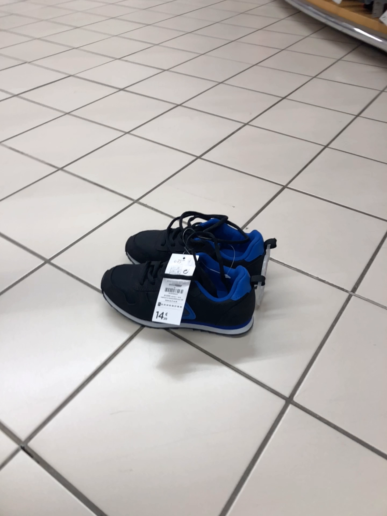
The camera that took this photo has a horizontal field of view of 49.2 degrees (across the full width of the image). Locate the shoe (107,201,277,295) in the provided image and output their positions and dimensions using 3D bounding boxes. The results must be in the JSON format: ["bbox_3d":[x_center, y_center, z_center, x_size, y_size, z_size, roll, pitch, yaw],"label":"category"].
[{"bbox_3d":[0.001,-0.017,0.593,0.217,0.061,0.085,9,42,10],"label":"shoe"}]

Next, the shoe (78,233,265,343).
[{"bbox_3d":[-0.023,0.035,0.534,0.211,0.071,0.085,7,41,8],"label":"shoe"}]
